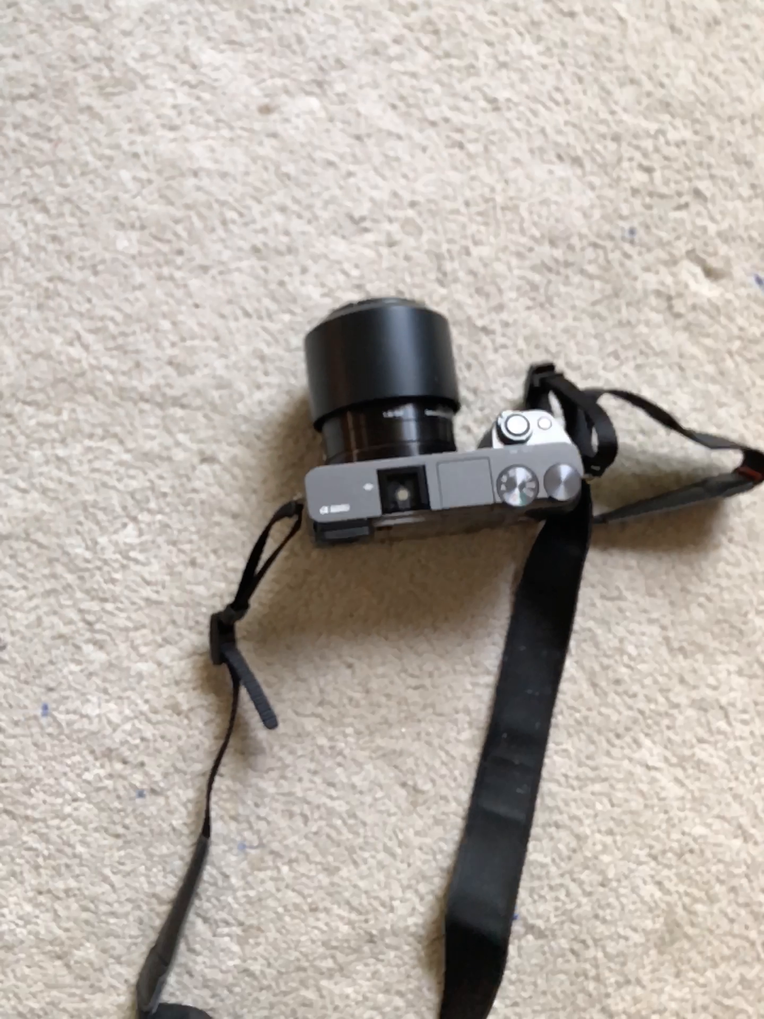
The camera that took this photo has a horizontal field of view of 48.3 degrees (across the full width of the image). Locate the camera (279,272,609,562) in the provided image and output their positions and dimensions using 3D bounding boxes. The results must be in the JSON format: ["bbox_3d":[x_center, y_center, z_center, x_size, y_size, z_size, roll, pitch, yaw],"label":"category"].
[{"bbox_3d":[0.022,-0.037,0.374,0.120,0.070,0.100,-7,82,-6],"label":"camera"}]
